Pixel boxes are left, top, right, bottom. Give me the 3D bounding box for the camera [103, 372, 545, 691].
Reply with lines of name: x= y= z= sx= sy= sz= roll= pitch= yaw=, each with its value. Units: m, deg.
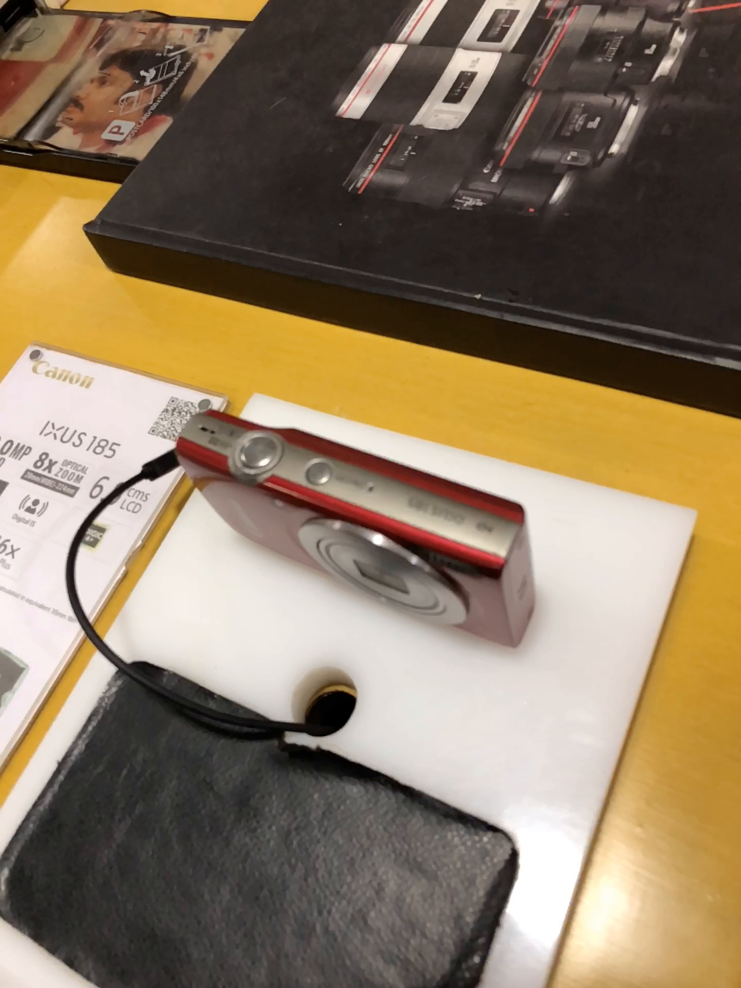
camera: x=-0.010 y=0.009 z=0.206 sx=0.100 sy=0.050 sz=0.030 roll=20 pitch=67 yaw=23
